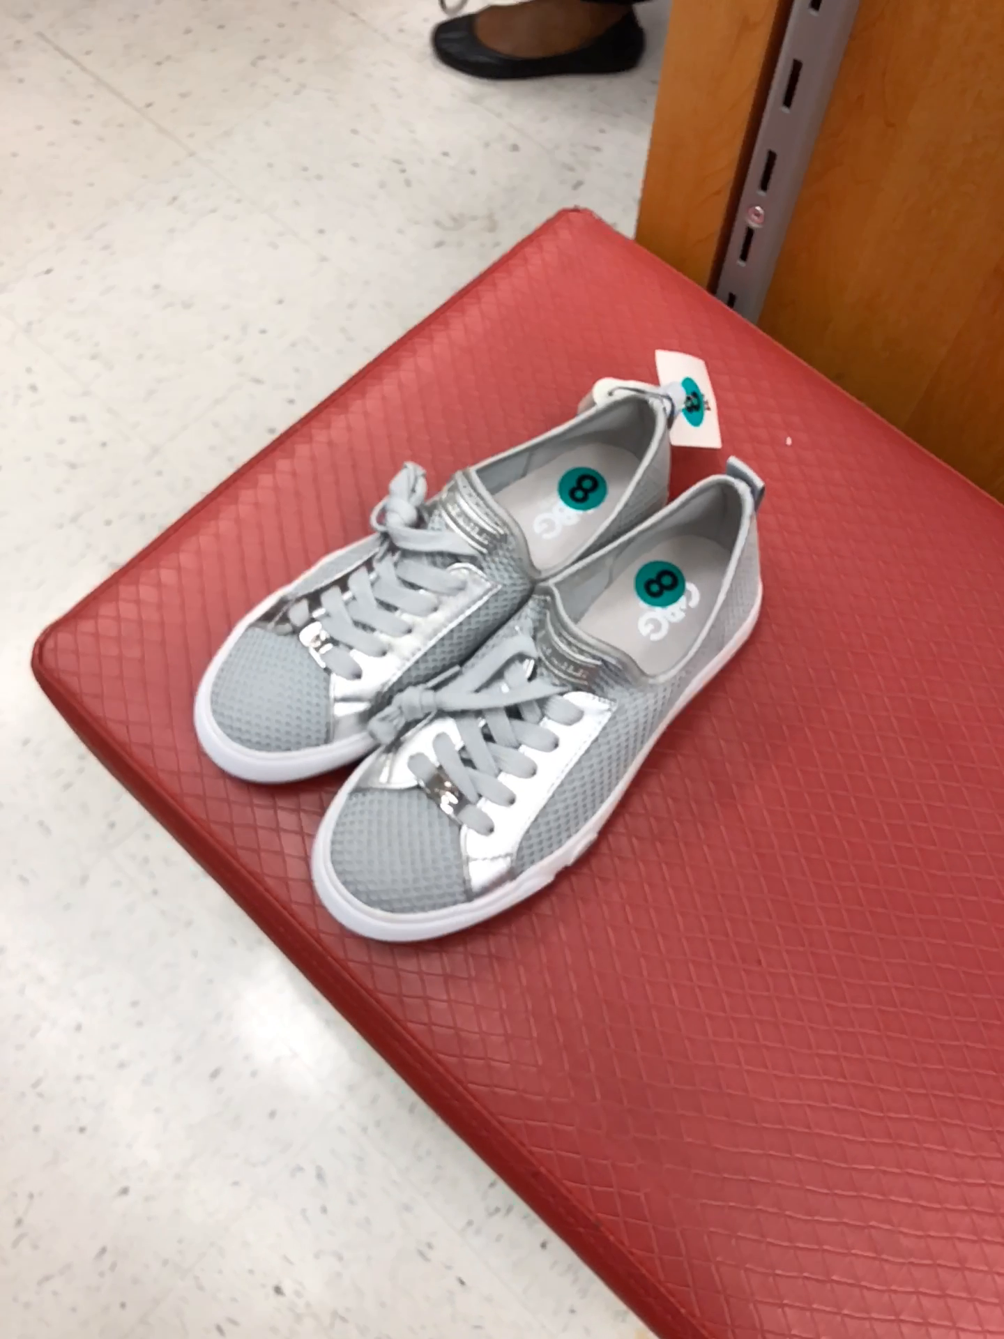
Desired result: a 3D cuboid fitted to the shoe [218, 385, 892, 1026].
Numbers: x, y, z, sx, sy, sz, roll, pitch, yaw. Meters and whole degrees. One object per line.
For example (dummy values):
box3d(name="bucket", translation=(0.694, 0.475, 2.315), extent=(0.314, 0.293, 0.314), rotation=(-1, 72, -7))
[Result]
box3d(name="shoe", translation=(0.027, 0.012, 0.483), extent=(0.268, 0.095, 0.106), rotation=(-40, 72, -17))

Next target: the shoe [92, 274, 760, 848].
box3d(name="shoe", translation=(-0.027, -0.052, 0.512), extent=(0.268, 0.097, 0.106), rotation=(-35, 71, -15))
